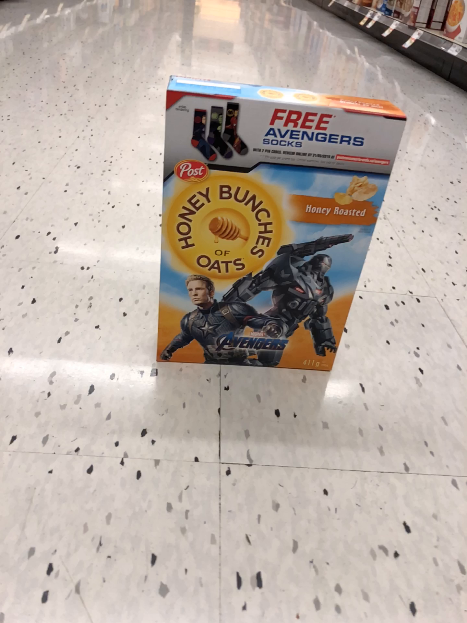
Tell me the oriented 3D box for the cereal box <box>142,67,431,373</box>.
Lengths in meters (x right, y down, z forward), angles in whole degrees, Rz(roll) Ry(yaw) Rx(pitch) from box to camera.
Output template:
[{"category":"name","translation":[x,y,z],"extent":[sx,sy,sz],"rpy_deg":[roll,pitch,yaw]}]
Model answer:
[{"category":"cereal box","translation":[0.028,-0.066,0.472],"extent":[0.210,0.258,0.060],"rpy_deg":[4,34,-7]}]
